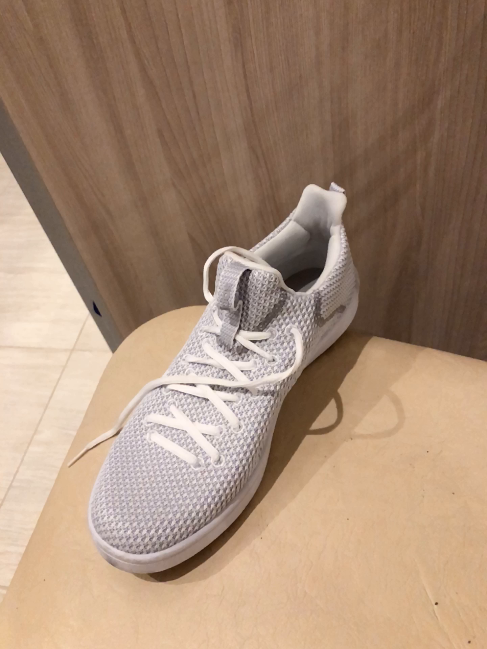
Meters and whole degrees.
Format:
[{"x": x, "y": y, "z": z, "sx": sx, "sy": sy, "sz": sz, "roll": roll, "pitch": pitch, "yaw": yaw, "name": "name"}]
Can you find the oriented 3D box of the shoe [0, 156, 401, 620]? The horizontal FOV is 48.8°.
[{"x": -0.006, "y": 0.025, "z": 0.391, "sx": 0.110, "sy": 0.129, "sz": 0.301, "roll": 23, "pitch": 58, "yaw": 28, "name": "shoe"}]
